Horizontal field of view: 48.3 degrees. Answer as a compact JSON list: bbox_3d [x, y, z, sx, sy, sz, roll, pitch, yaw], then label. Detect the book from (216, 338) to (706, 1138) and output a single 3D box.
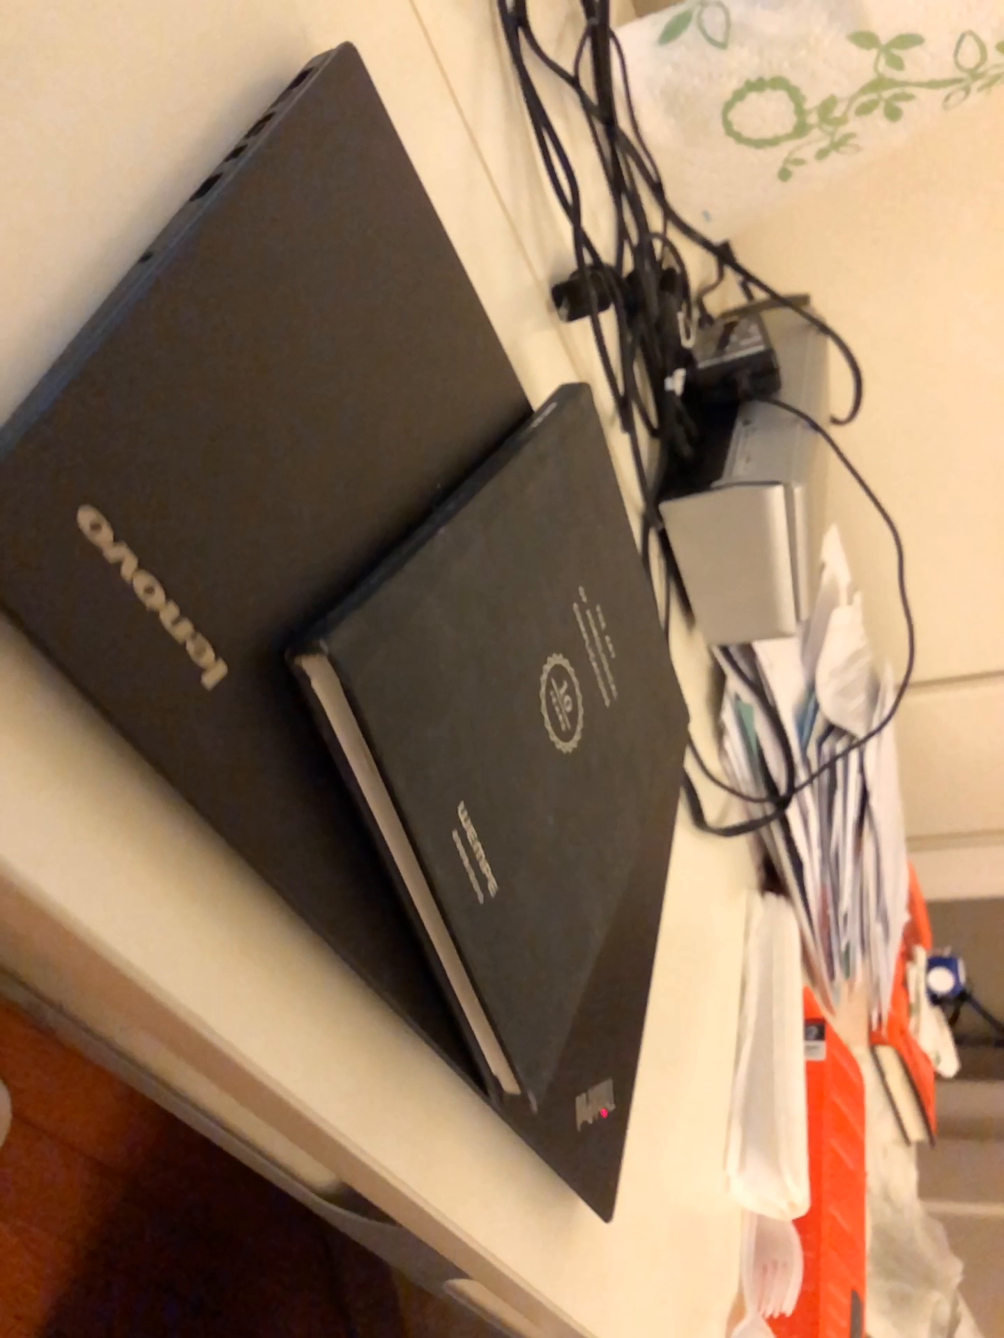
[{"bbox_3d":[0.012,0.005,0.372,0.170,0.030,0.221,69,29,-23],"label":"book"}]
